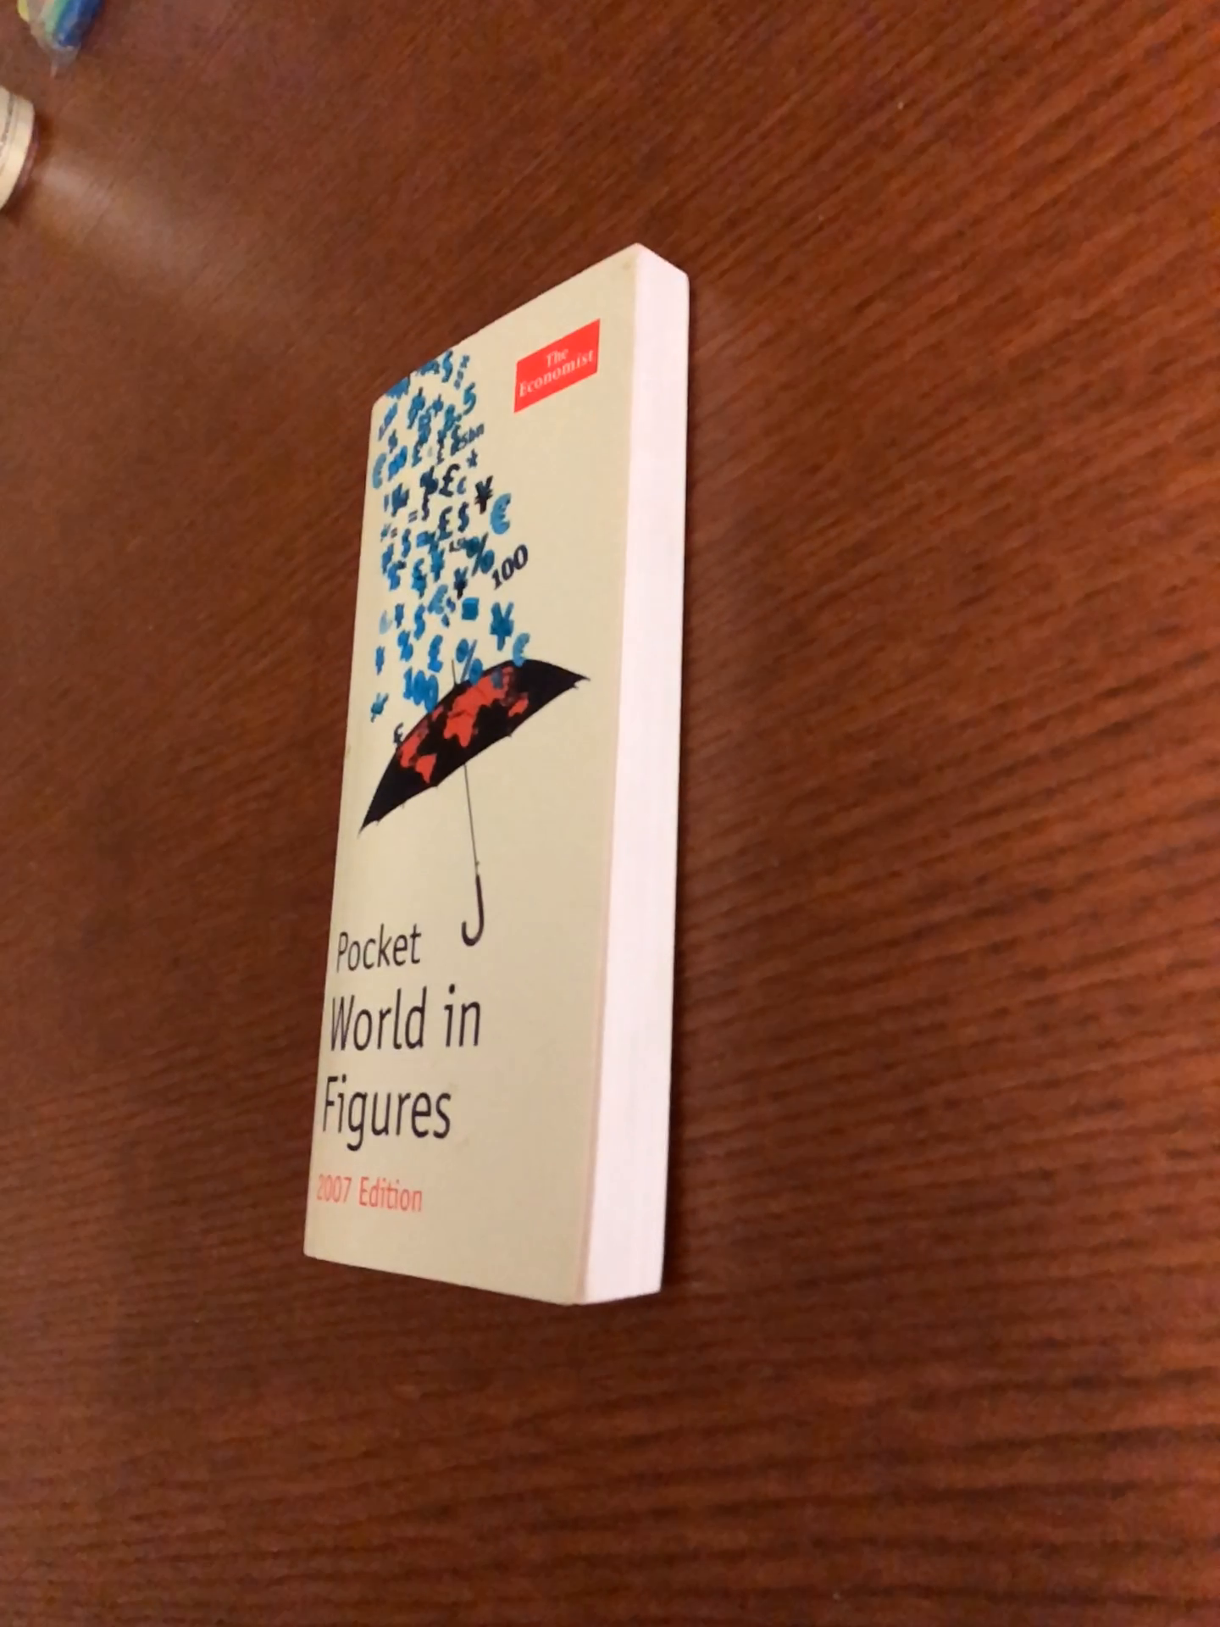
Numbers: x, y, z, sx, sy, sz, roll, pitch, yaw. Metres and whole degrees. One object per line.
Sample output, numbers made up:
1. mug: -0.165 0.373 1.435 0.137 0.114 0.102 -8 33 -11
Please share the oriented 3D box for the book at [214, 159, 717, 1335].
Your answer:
1. book: -0.029 -0.011 0.266 0.100 0.030 0.200 -12 70 46
